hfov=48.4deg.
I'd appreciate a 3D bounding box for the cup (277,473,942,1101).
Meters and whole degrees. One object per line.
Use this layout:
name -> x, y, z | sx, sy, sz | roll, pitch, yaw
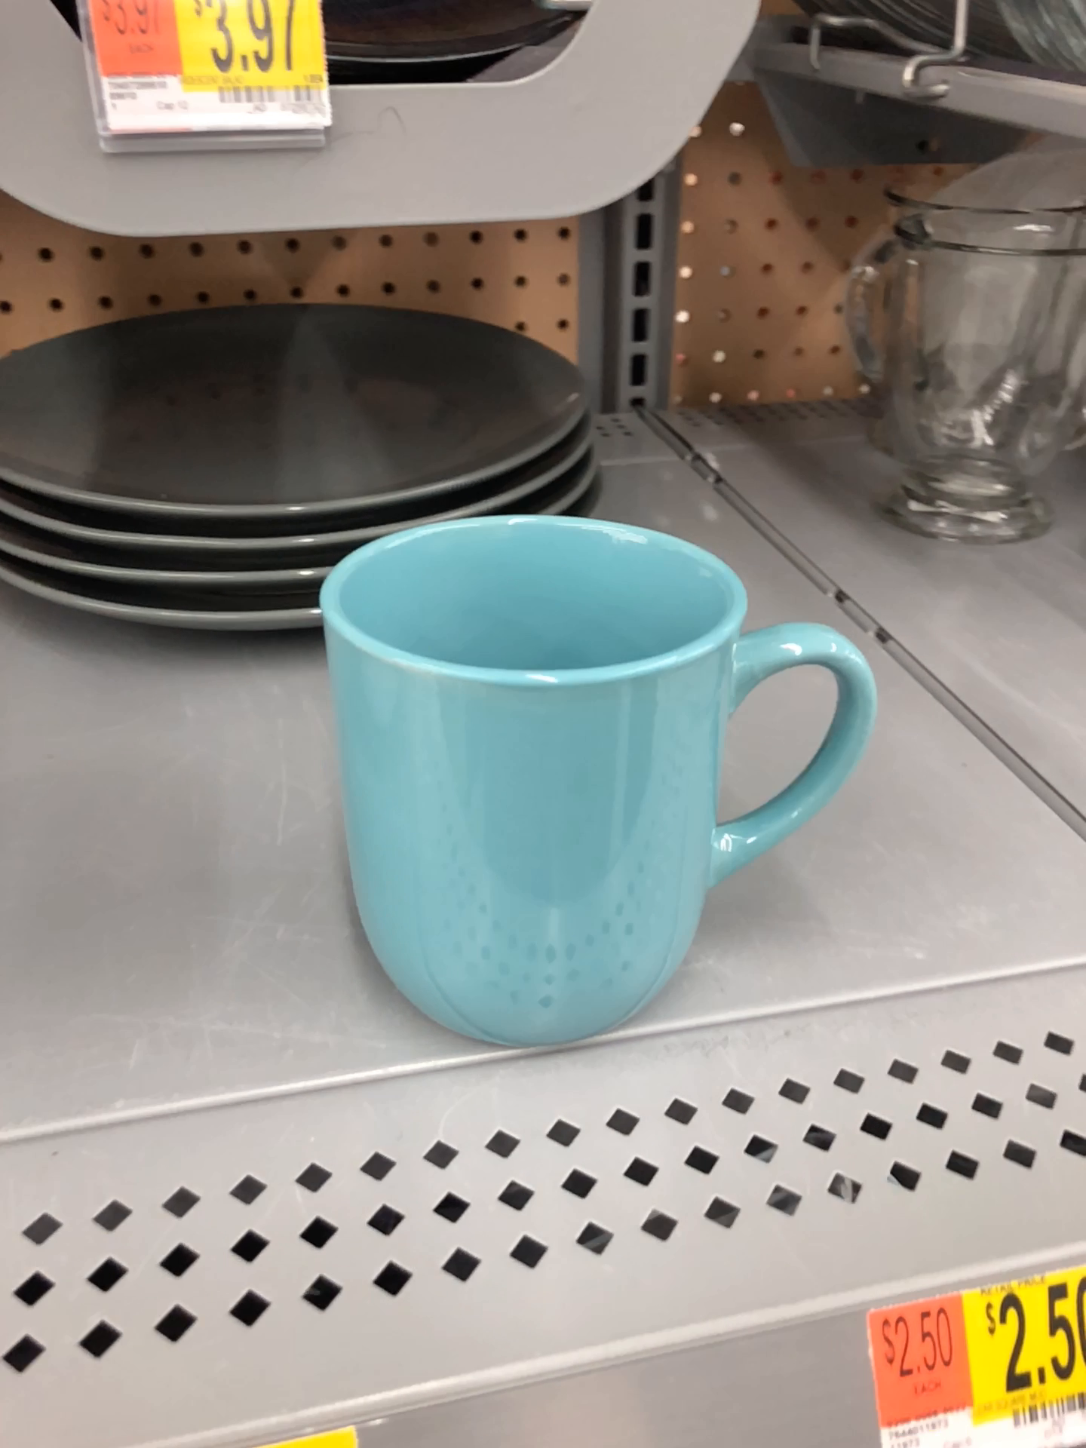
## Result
cup -> 0.007, 0.007, 0.271 | 0.114, 0.091, 0.091 | -7, 31, -13
